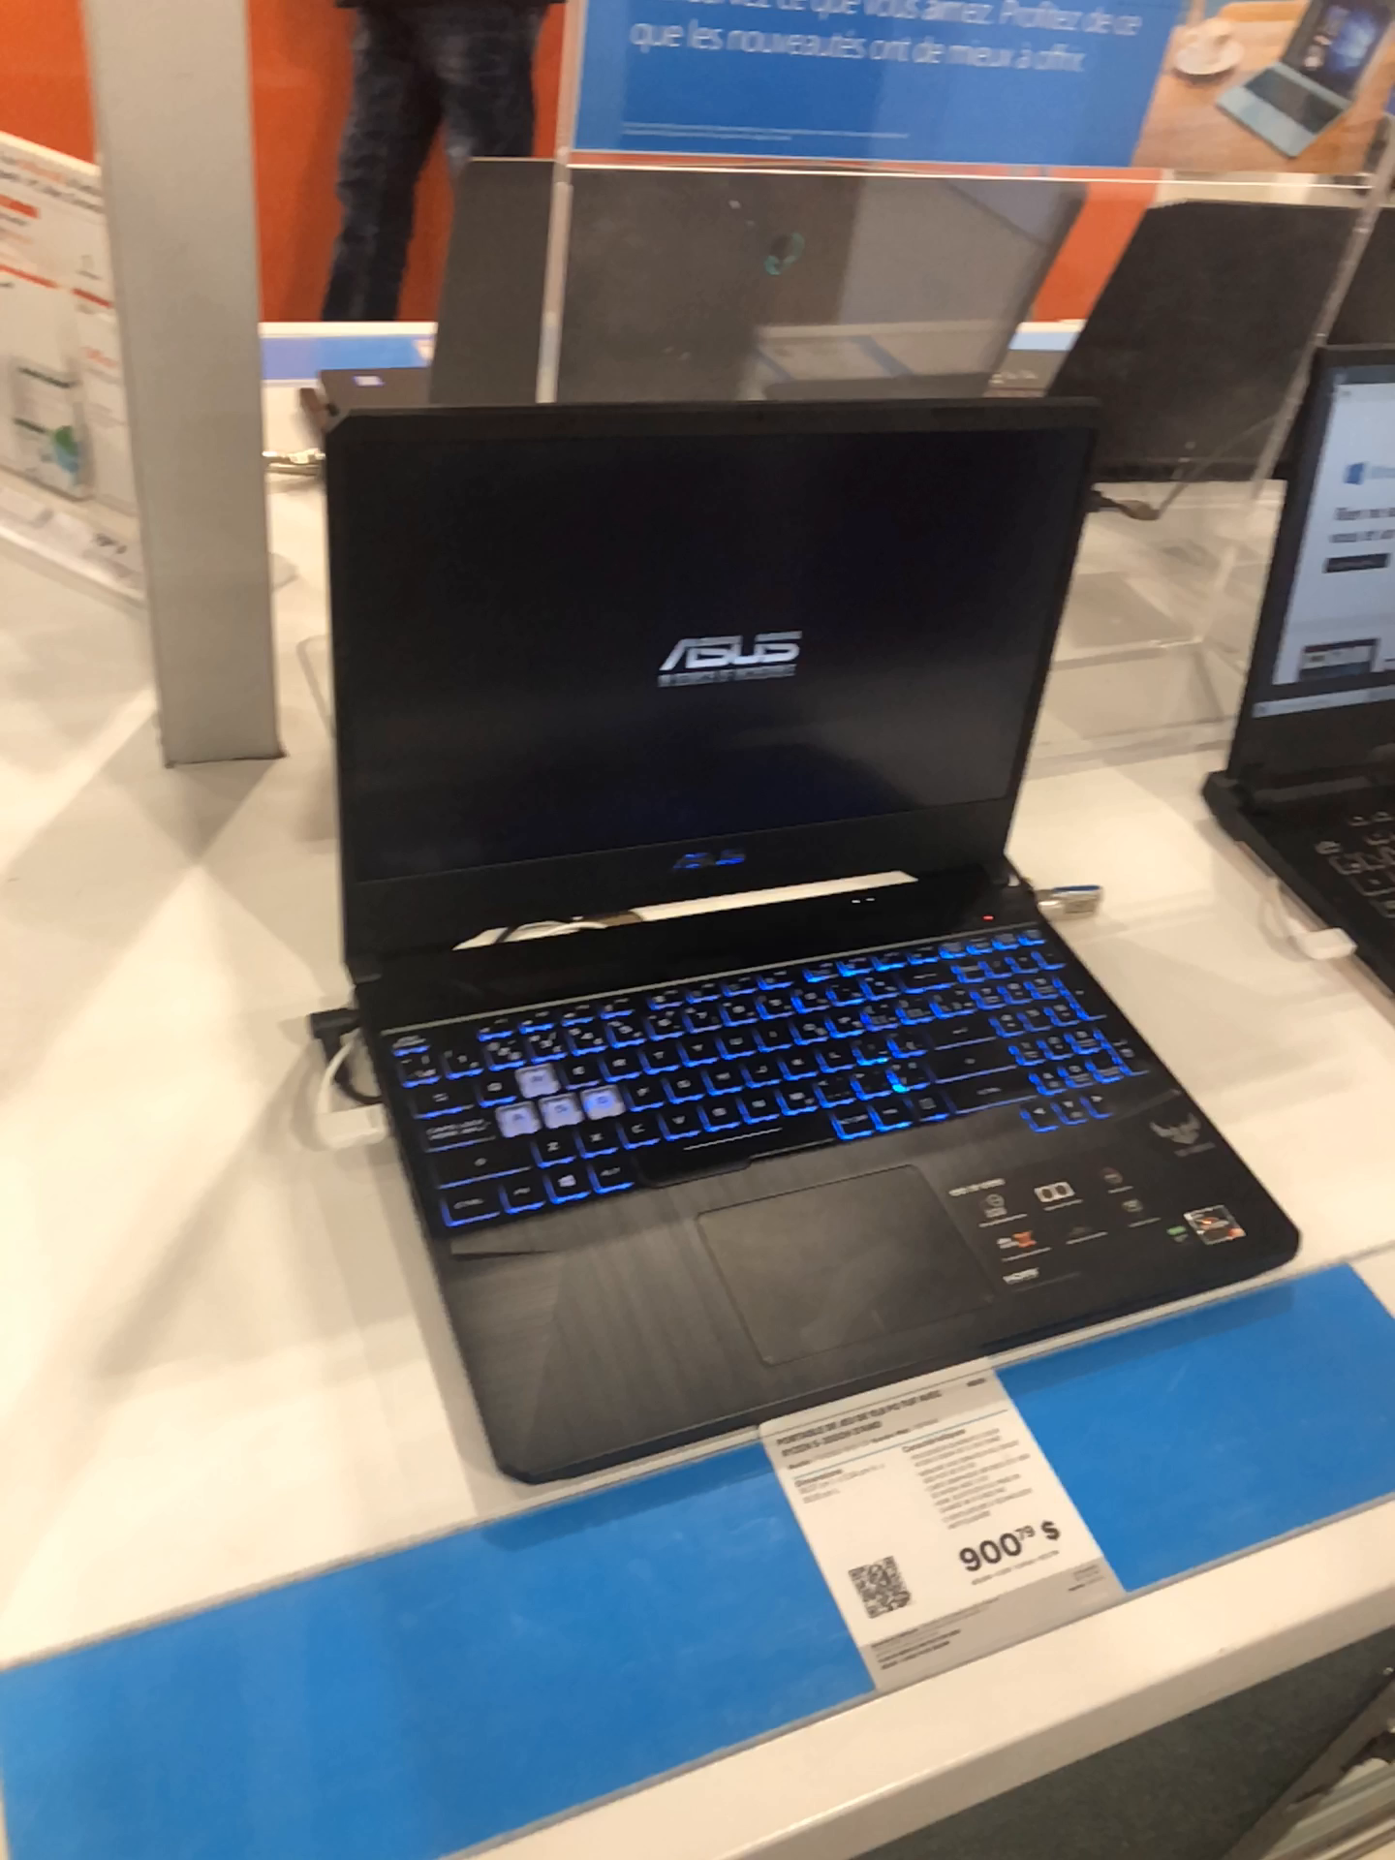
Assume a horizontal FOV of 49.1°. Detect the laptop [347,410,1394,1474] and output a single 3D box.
[{"bbox_3d":[0.062,-0.028,0.620,0.350,0.235,0.302,-9,44,-22],"label":"laptop"}]
